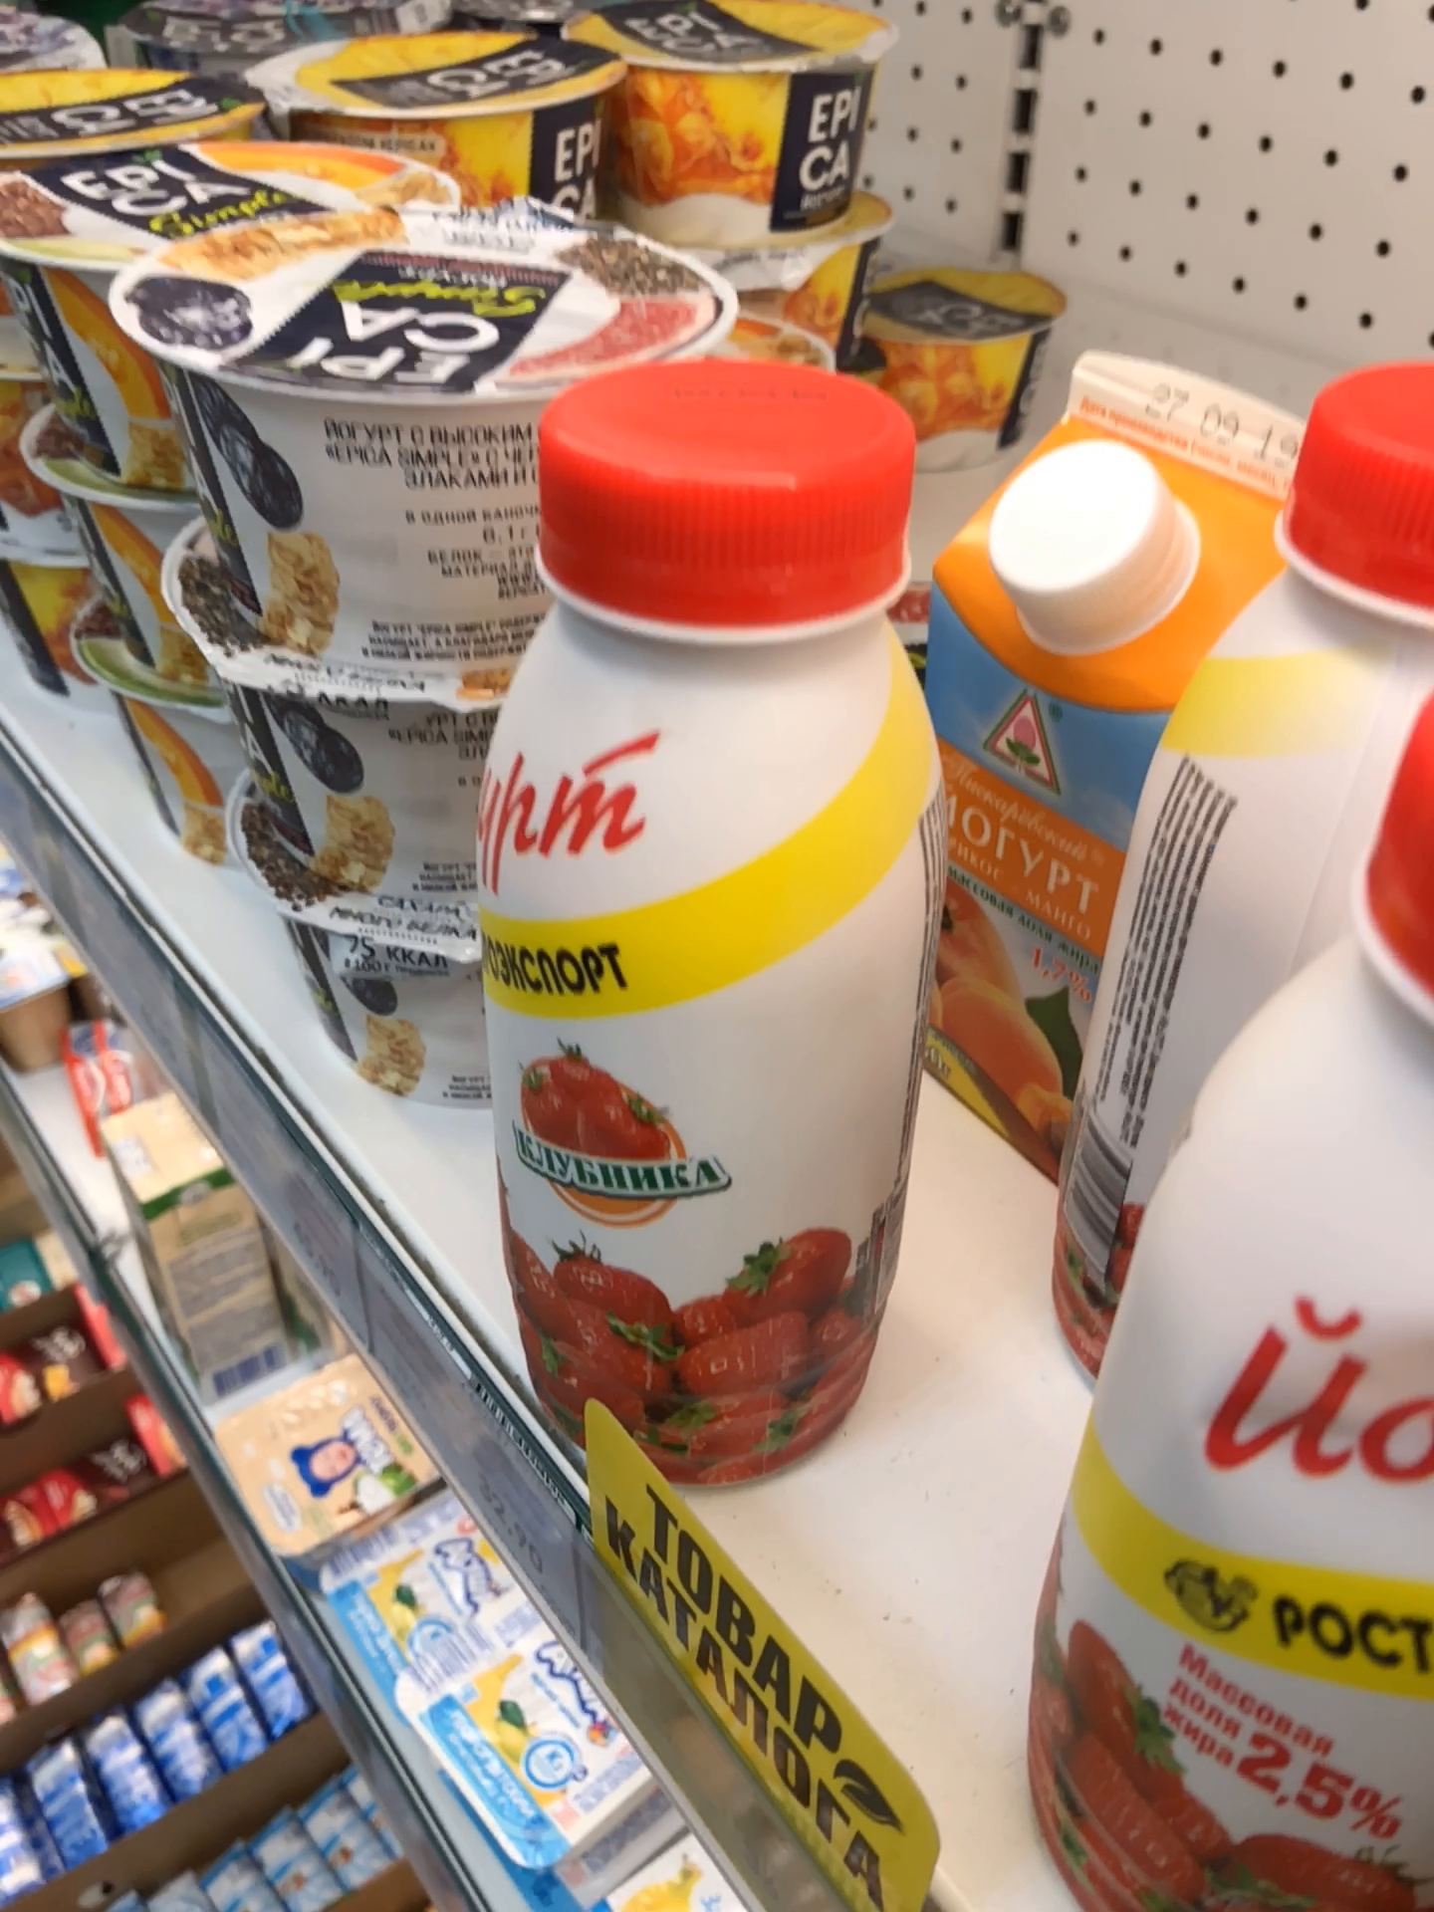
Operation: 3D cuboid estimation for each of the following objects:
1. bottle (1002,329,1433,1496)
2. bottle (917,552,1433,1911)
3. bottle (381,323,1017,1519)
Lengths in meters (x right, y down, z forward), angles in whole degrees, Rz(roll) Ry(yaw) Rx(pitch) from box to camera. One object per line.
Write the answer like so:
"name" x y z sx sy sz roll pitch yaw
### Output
"bottle" 0.074 0.002 0.210 0.052 0.146 0.055 0 37 0
"bottle" 0.063 0.047 0.152 0.058 0.146 0.057 0 37 0
"bottle" -0.004 0.003 0.208 0.056 0.146 0.058 0 37 0
